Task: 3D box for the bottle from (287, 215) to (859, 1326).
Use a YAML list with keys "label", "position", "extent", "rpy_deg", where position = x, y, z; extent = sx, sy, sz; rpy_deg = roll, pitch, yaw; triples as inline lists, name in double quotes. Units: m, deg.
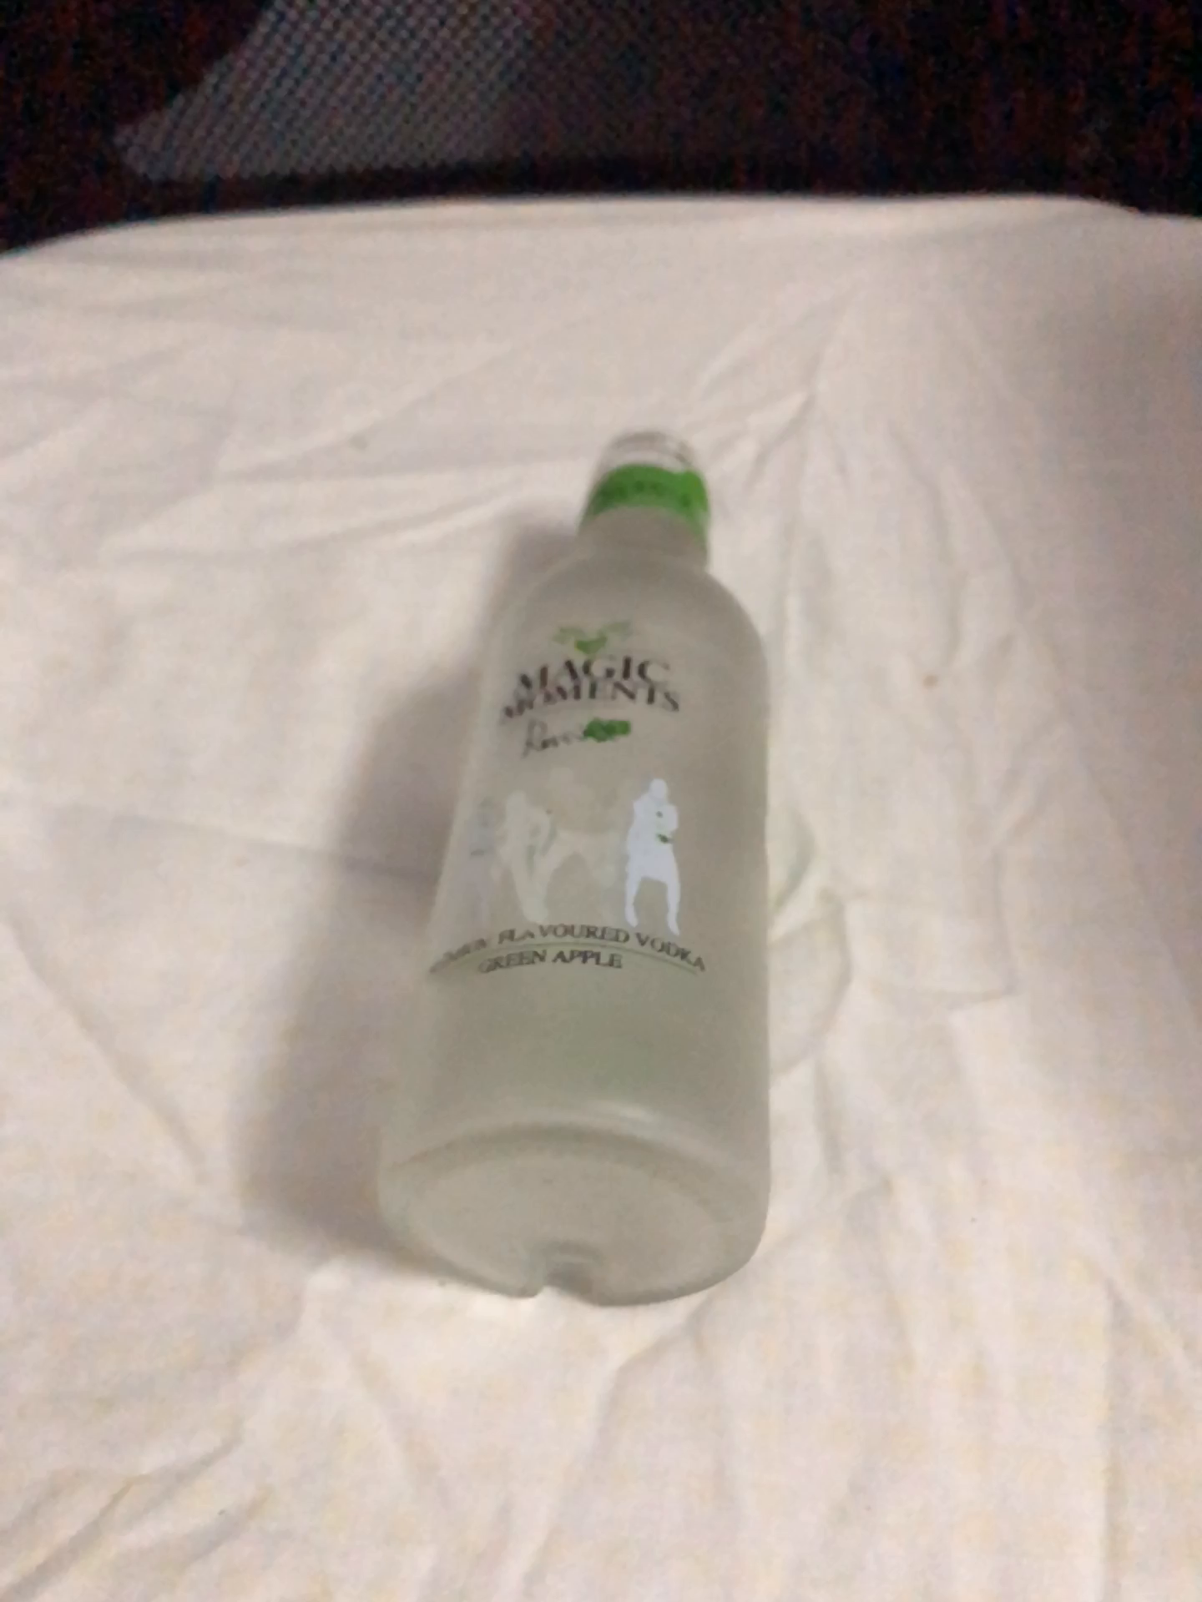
- label: "bottle"
  position: [0.005, -0.019, 0.222]
  extent: [0.060, 0.060, 0.181]
  rpy_deg: [3, 52, 4]
